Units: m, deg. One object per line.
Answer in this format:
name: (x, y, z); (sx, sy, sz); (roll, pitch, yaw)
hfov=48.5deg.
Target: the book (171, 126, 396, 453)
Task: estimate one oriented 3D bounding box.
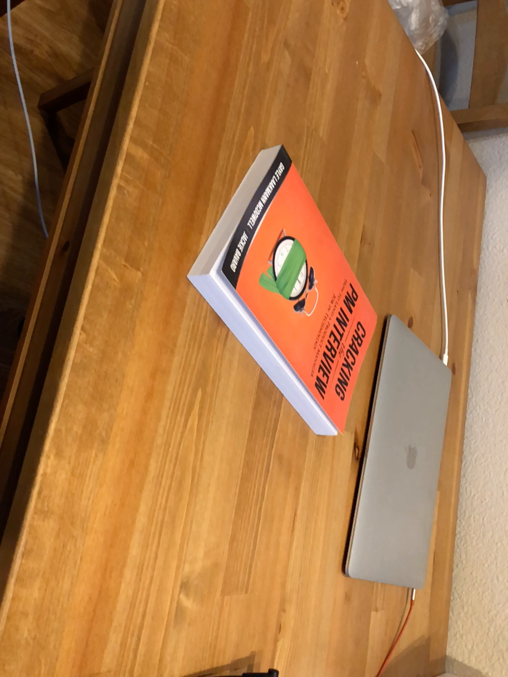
book: (0.047, -0.032, 0.506); (0.251, 0.040, 0.160); (52, 51, -38)
